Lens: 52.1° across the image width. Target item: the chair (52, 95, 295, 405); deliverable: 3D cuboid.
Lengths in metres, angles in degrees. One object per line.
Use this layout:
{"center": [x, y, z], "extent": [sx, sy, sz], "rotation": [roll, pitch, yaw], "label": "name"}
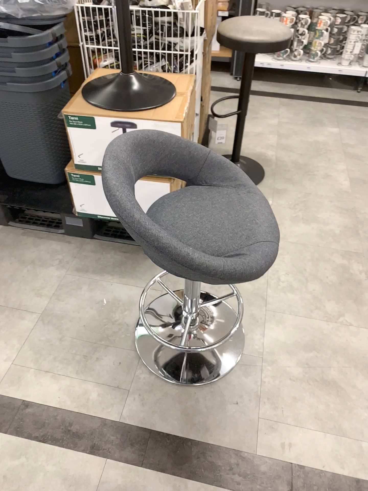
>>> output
{"center": [-0.002, 0.035, 1.212], "extent": [0.485, 0.787, 0.551], "rotation": [6, 44, 4], "label": "chair"}
